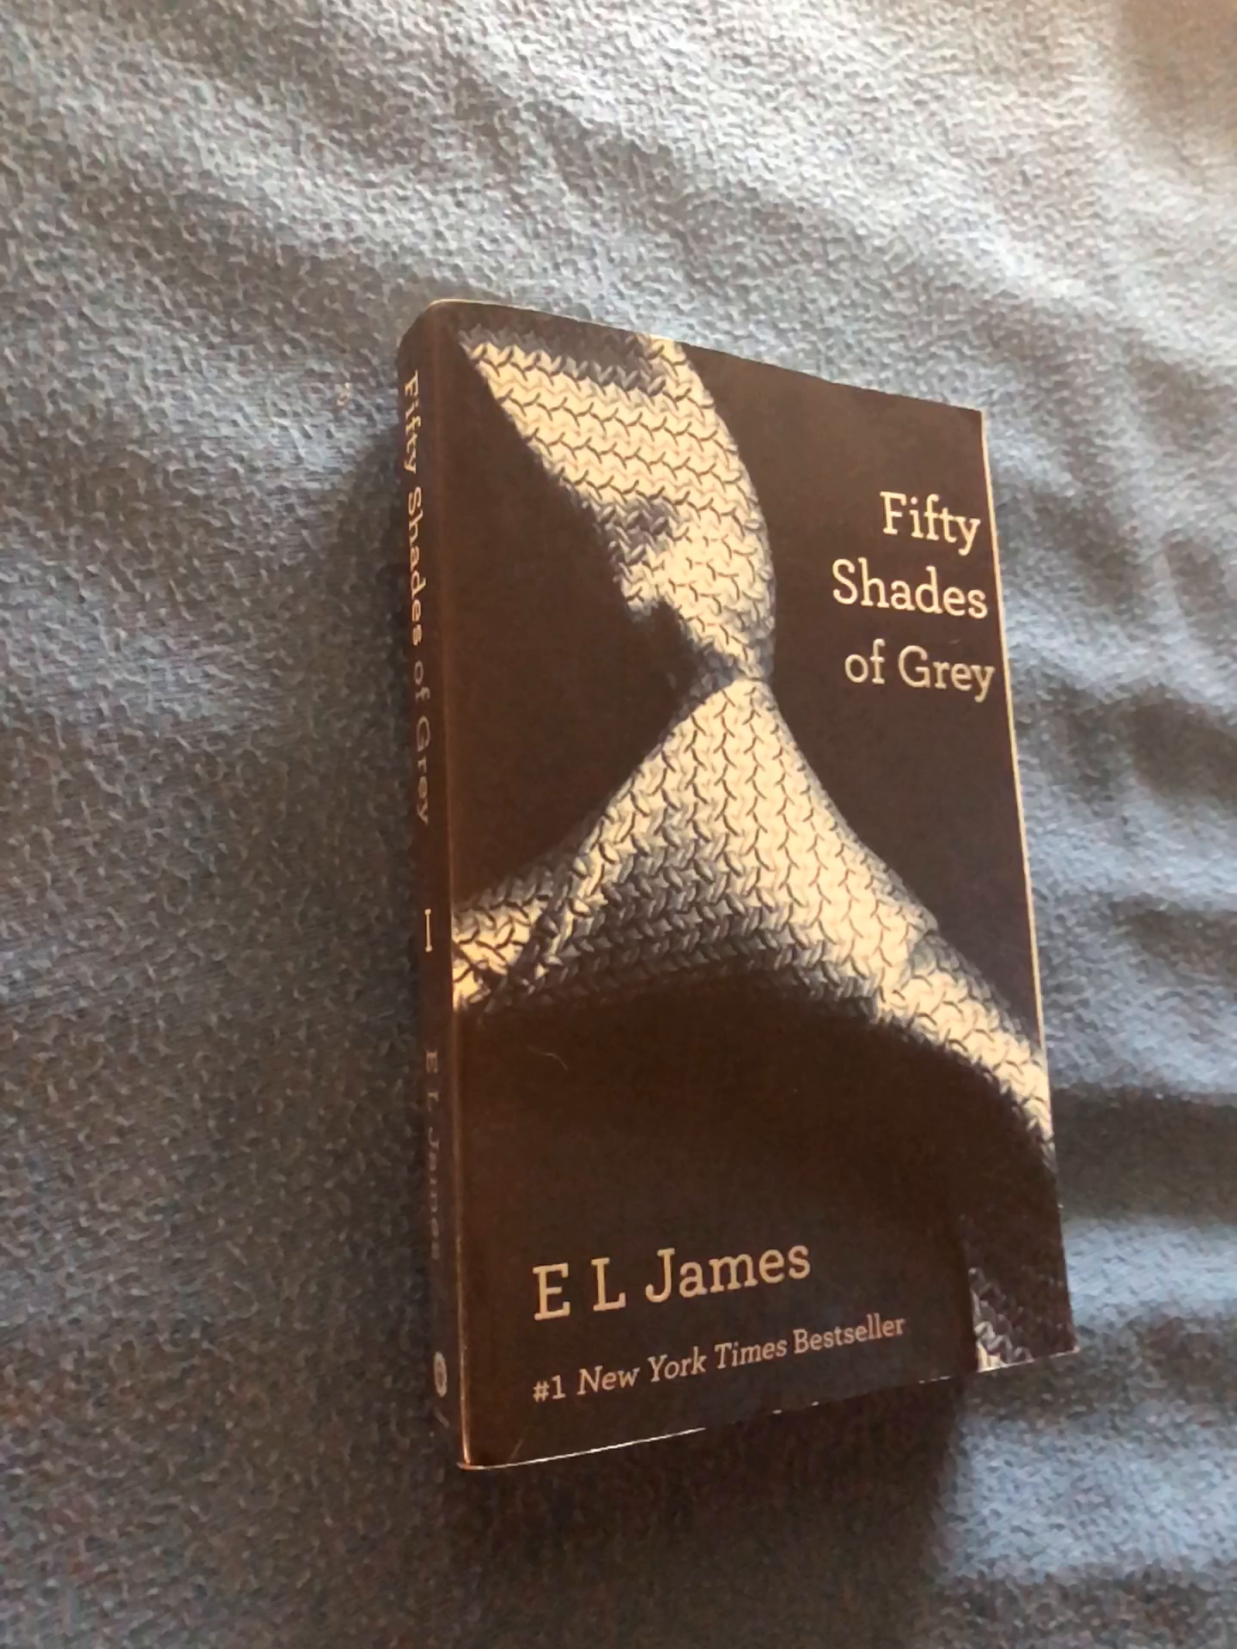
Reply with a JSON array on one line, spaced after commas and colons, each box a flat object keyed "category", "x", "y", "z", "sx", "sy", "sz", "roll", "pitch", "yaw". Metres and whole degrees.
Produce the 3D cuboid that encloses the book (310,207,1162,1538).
[{"category": "book", "x": 0.022, "y": 0.004, "z": 0.266, "sx": 0.150, "sy": 0.040, "sz": 0.210, "roll": 1, "pitch": 79, "yaw": -27}]
